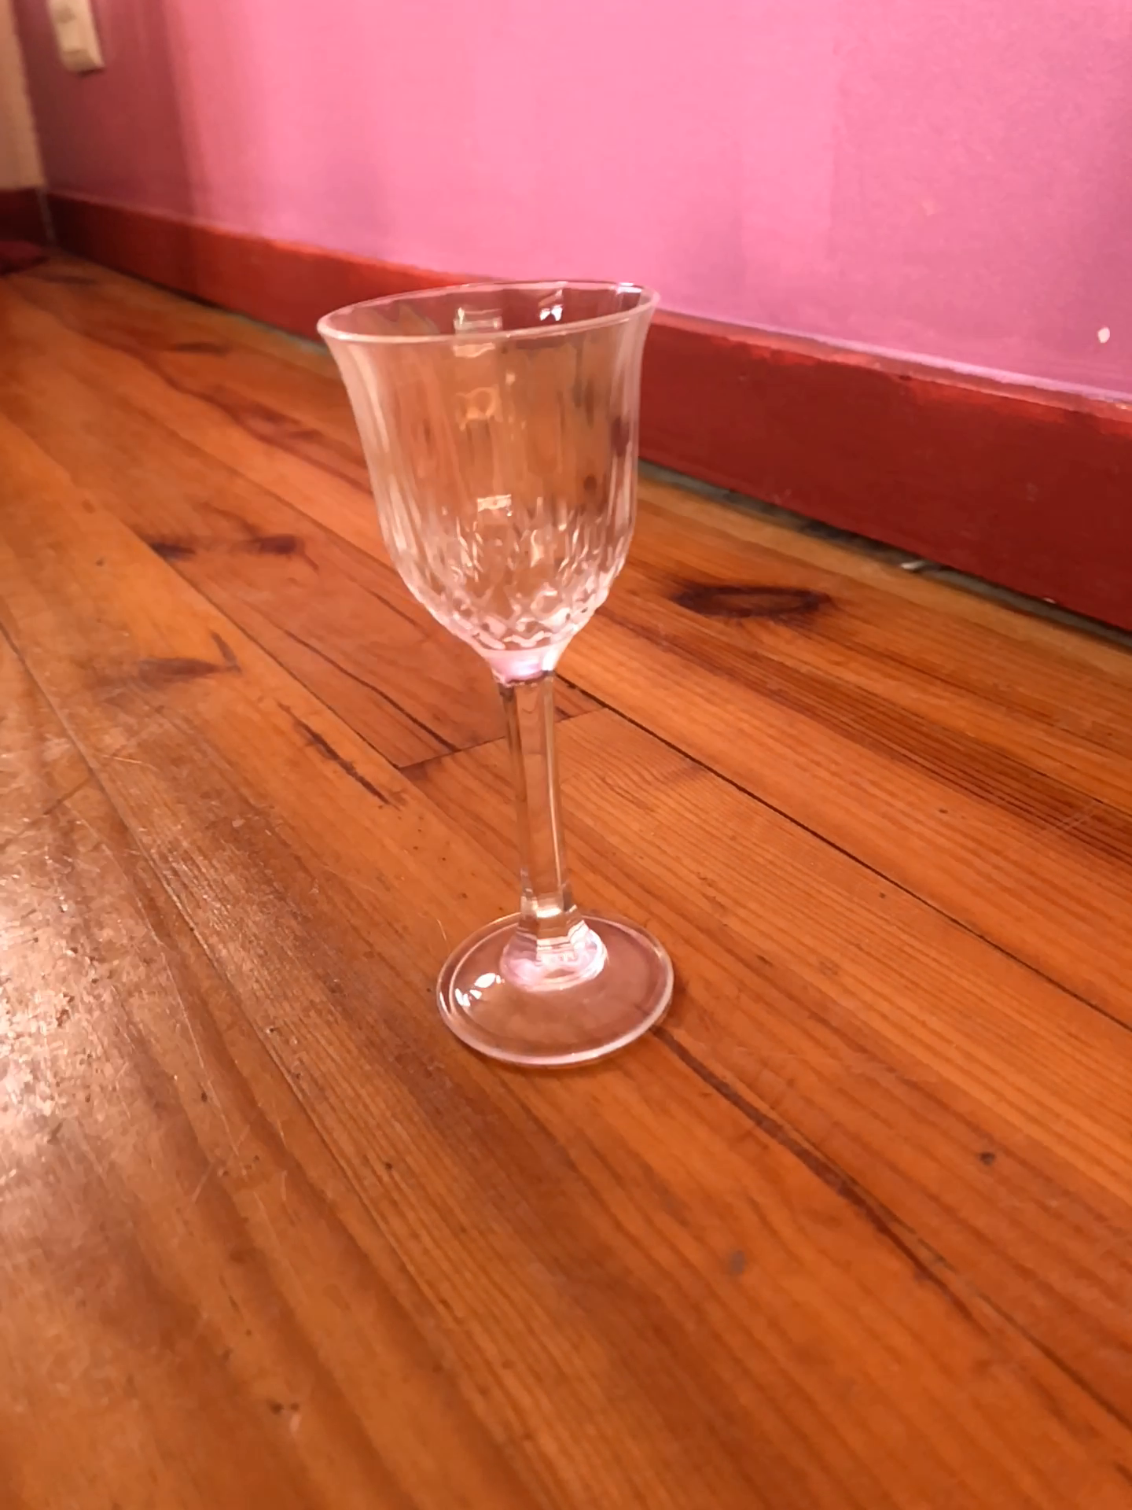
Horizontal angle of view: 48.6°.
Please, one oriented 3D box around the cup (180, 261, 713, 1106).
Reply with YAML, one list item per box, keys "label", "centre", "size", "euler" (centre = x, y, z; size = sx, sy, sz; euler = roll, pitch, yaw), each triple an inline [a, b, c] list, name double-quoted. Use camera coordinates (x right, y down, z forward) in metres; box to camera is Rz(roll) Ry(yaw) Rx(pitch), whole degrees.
- label: "cup"
  centre: [-0.013, -0.015, 0.227]
  size: [0.060, 0.133, 0.059]
  euler: [-3, 28, 2]
